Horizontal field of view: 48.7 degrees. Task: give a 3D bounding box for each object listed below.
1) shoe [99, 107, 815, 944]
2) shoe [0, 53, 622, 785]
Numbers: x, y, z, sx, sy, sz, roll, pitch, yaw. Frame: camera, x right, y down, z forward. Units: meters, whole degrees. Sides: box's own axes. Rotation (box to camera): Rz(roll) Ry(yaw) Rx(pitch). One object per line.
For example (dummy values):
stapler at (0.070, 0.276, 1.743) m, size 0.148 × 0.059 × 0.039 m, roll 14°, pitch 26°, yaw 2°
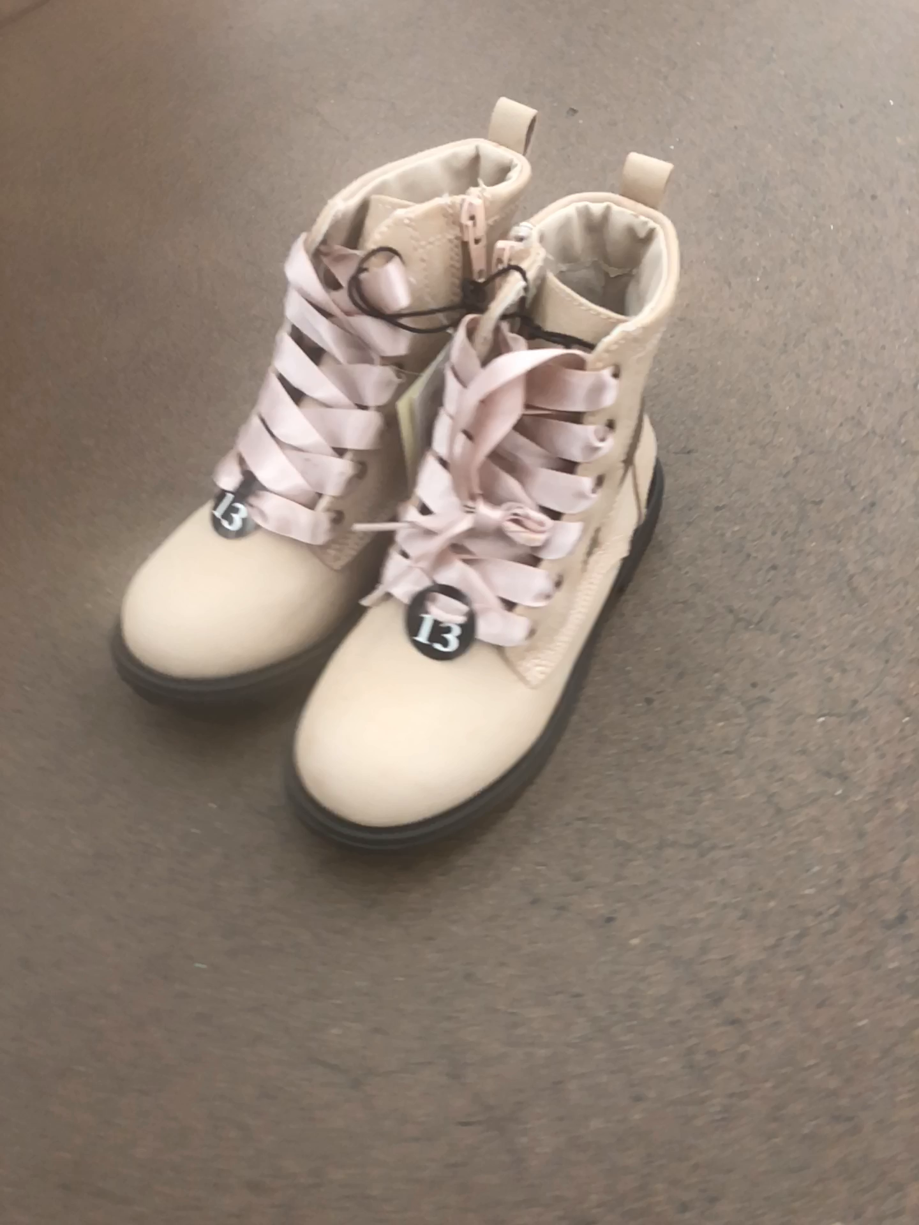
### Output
shoe at (0.014, -0.029, 0.338) m, size 0.090 × 0.150 × 0.220 m, roll 27°, pitch 62°, yaw 18°
shoe at (-0.049, -0.071, 0.379) m, size 0.090 × 0.150 × 0.220 m, roll 36°, pitch 65°, yaw 22°
